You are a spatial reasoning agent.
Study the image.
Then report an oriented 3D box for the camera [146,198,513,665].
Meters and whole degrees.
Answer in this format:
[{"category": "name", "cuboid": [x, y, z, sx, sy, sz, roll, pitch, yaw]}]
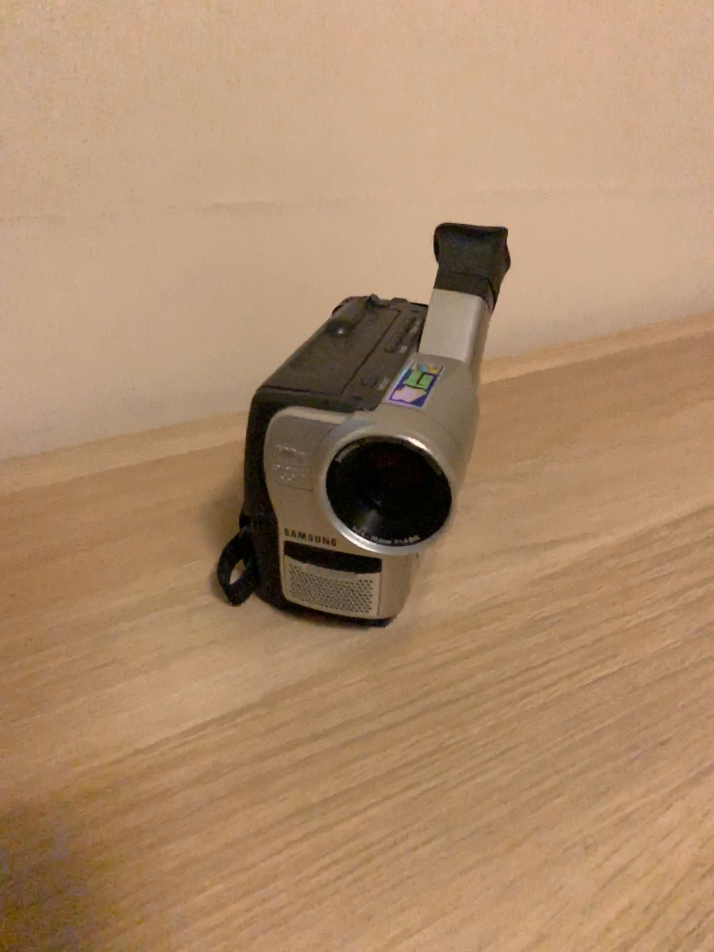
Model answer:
[{"category": "camera", "cuboid": [0.004, -0.040, 0.332, 0.106, 0.133, 0.193, 8, 27, 10]}]
